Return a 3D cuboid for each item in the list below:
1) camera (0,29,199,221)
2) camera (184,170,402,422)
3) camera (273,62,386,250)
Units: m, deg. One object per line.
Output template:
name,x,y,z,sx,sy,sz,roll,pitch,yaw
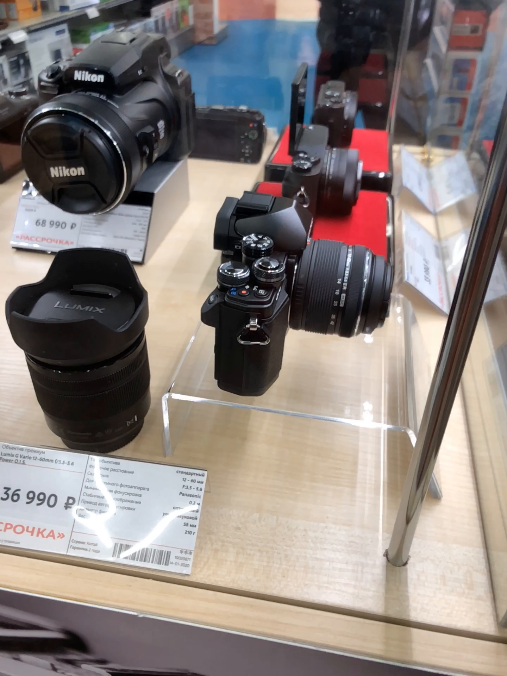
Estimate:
camera,-0.132,-0.202,0.511,0.104,0.109,0.186,10,37,12
camera,0.027,-0.031,0.332,0.101,0.088,0.119,7,37,8
camera,0.063,-0.152,0.461,0.072,0.109,0.119,7,37,8
